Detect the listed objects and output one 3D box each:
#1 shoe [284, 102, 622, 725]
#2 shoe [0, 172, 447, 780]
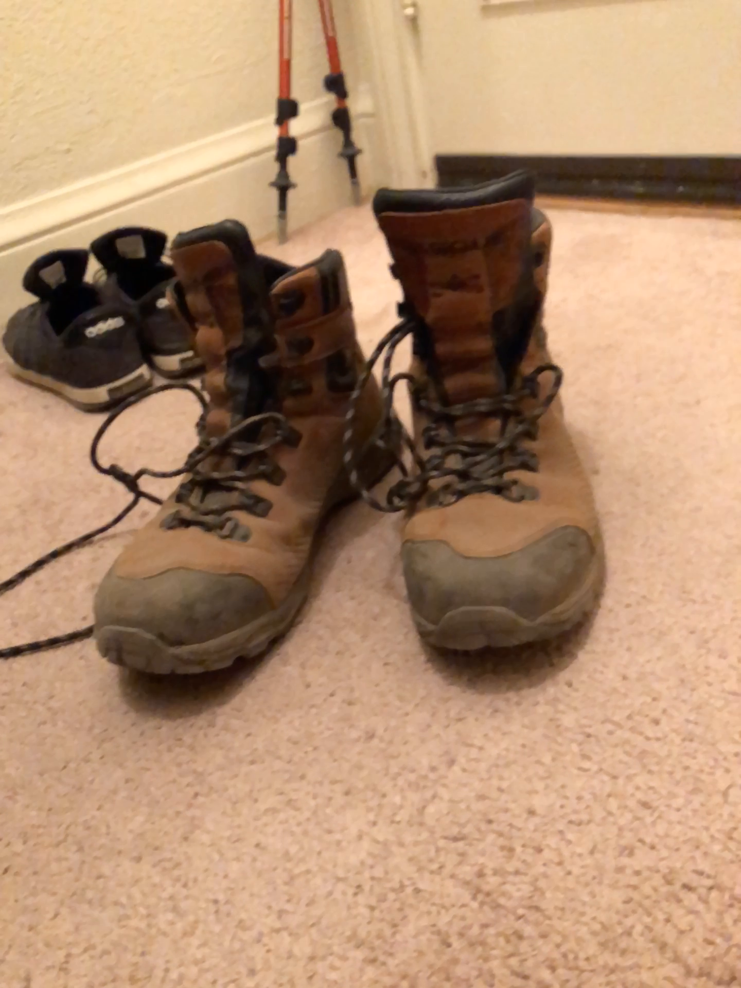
[{"bbox_3d":[0.077,-0.067,0.486,0.120,0.229,0.312,-2,34,16],"label":"shoe"},{"bbox_3d":[-0.072,-0.035,0.507,0.120,0.219,0.312,4,37,24],"label":"shoe"}]
